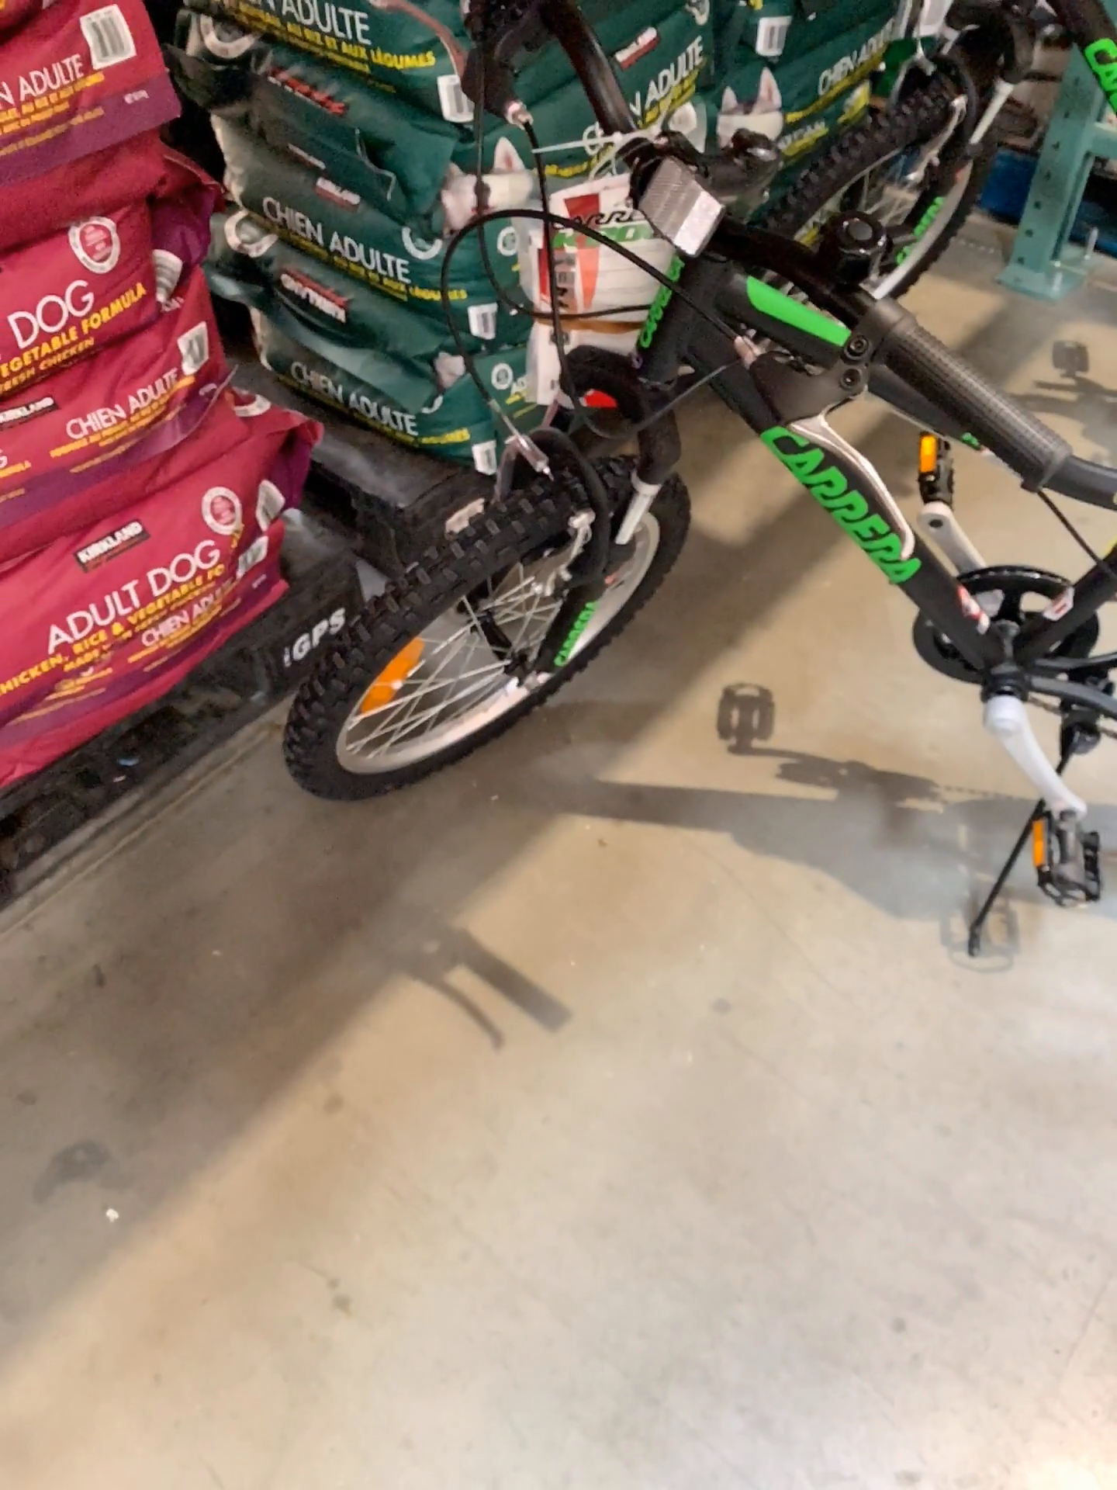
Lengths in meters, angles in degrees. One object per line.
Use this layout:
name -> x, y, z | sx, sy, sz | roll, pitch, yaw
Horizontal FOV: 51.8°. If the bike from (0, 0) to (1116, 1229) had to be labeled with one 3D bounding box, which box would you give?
bike -> 0.394, -0.110, 0.932 | 1.304, 0.856, 0.711 | 2, 50, 1
